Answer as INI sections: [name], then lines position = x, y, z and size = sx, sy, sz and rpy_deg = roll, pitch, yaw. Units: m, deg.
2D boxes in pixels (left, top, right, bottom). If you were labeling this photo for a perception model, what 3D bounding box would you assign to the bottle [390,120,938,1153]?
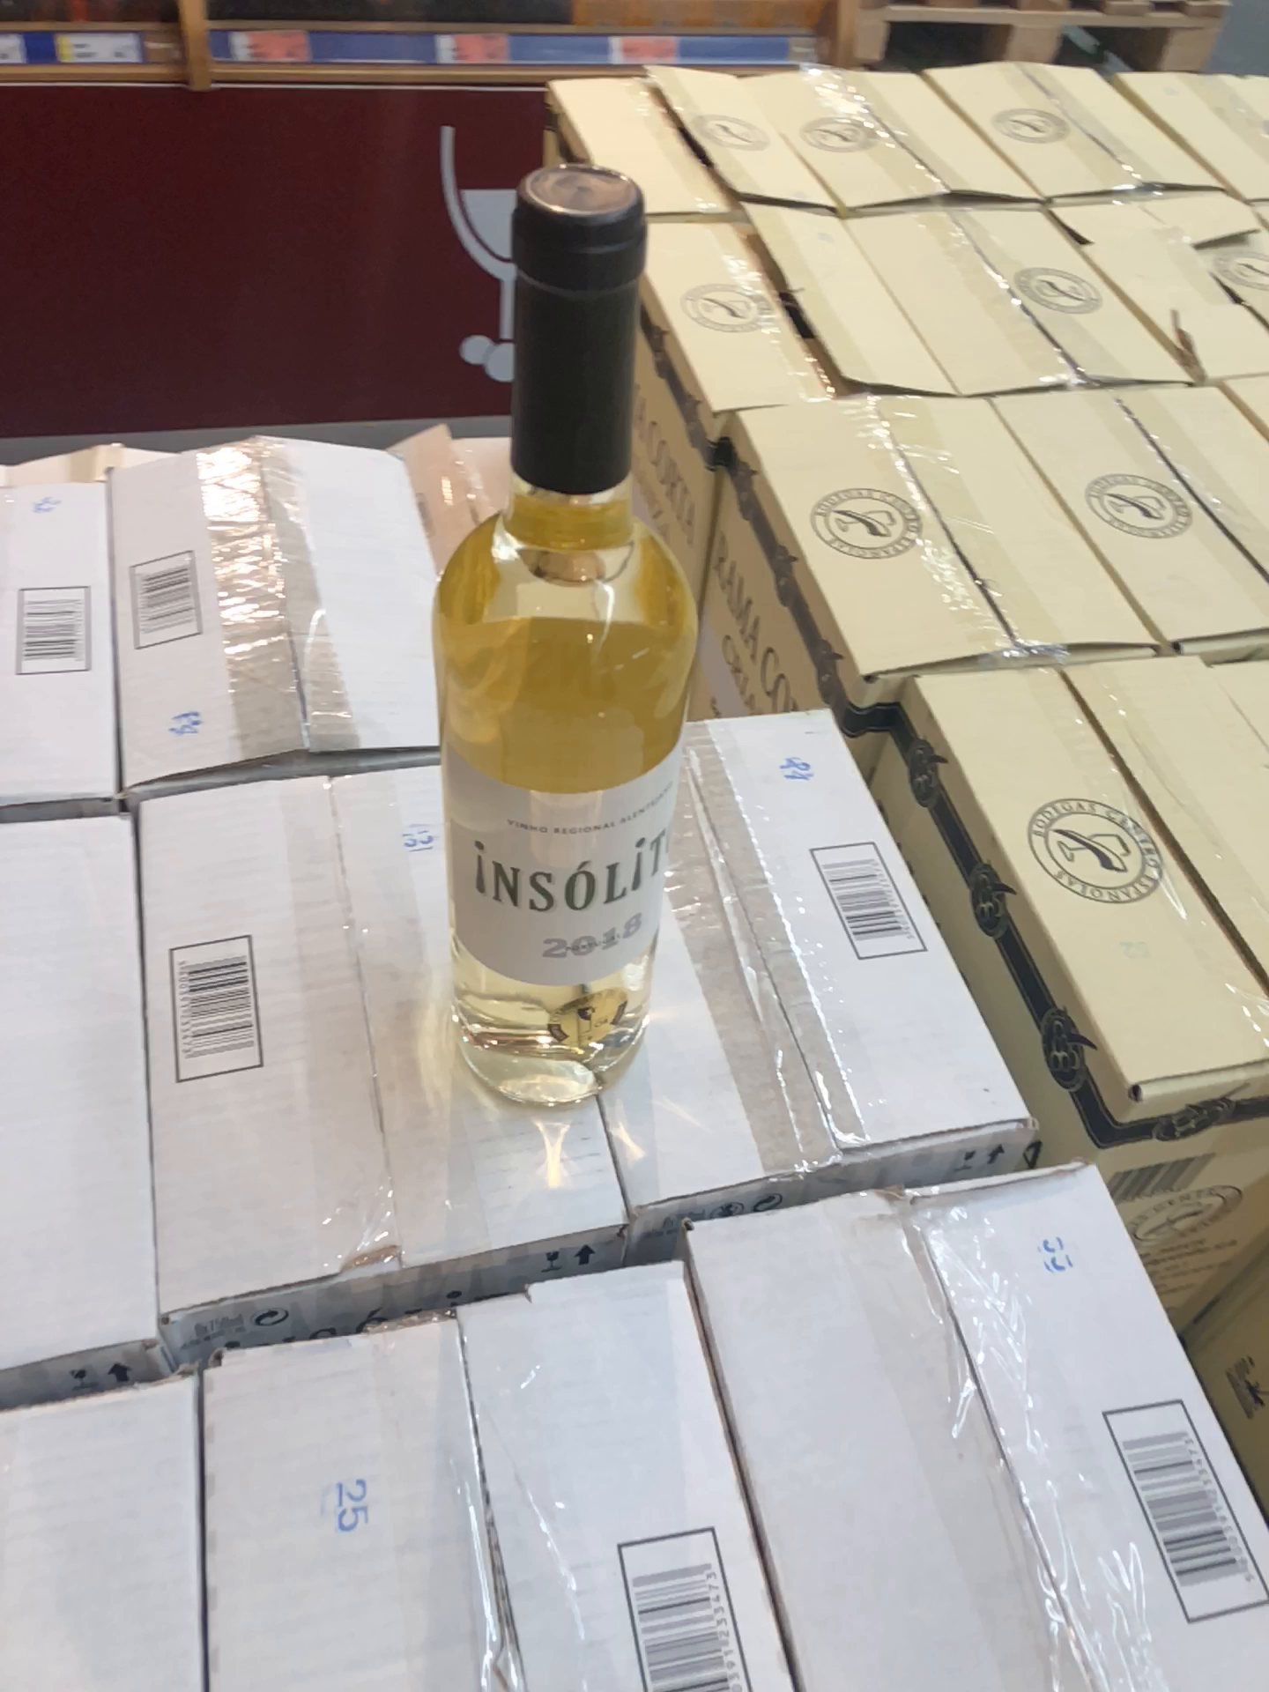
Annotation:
[bottle]
position = -0.012, -0.035, 0.406
size = 0.090, 0.298, 0.090
rpy_deg = 4, 48, -5
